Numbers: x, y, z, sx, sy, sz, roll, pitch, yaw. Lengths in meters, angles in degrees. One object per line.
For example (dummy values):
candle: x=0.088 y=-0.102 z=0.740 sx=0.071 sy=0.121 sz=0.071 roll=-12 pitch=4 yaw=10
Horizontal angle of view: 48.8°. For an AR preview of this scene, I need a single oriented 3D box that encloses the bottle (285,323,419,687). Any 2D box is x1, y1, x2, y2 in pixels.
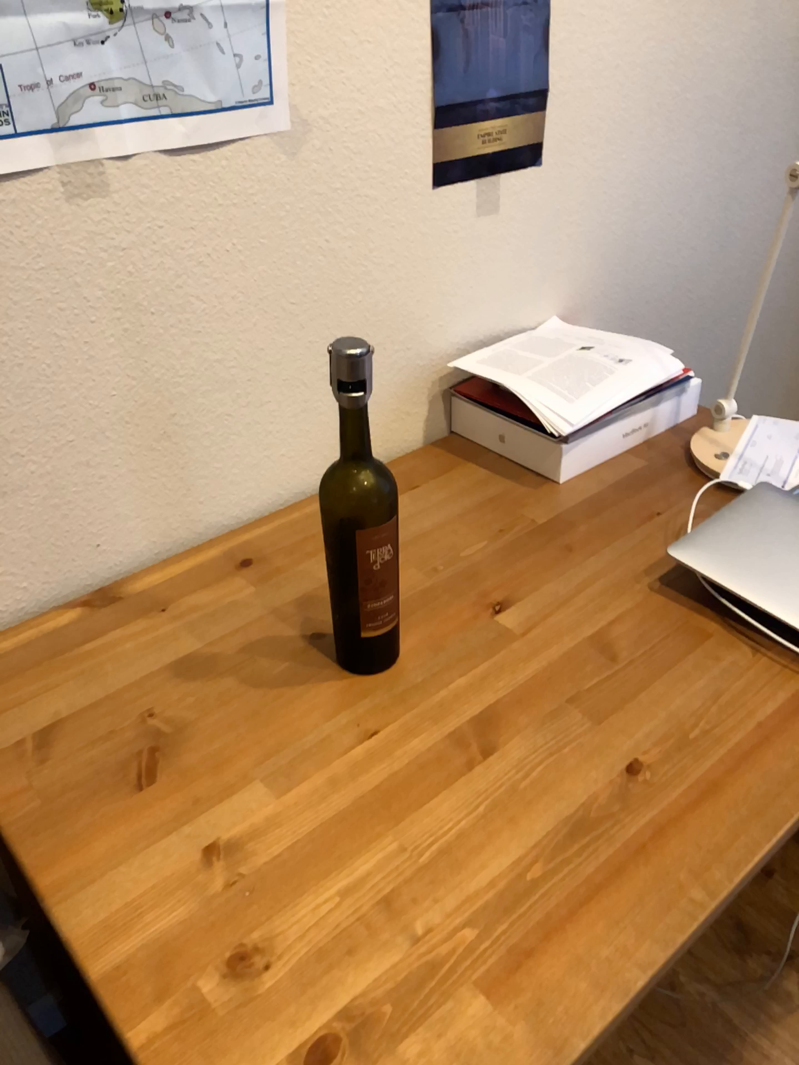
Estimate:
bottle: x=-0.041 y=-0.017 z=0.863 sx=0.080 sy=0.349 sz=0.080 roll=-2 pitch=33 yaw=1
